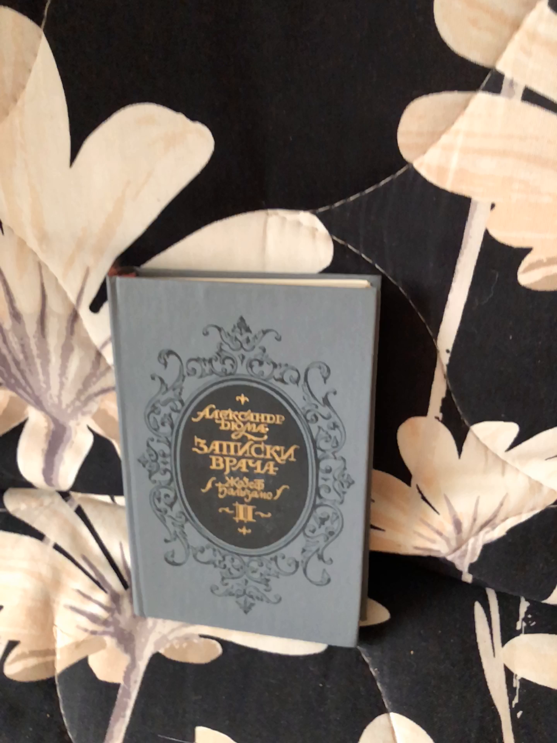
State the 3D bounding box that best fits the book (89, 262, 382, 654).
[{"bbox_3d":[-0.021,0.049,0.338,0.140,0.030,0.206,4,109,11],"label":"book"}]
